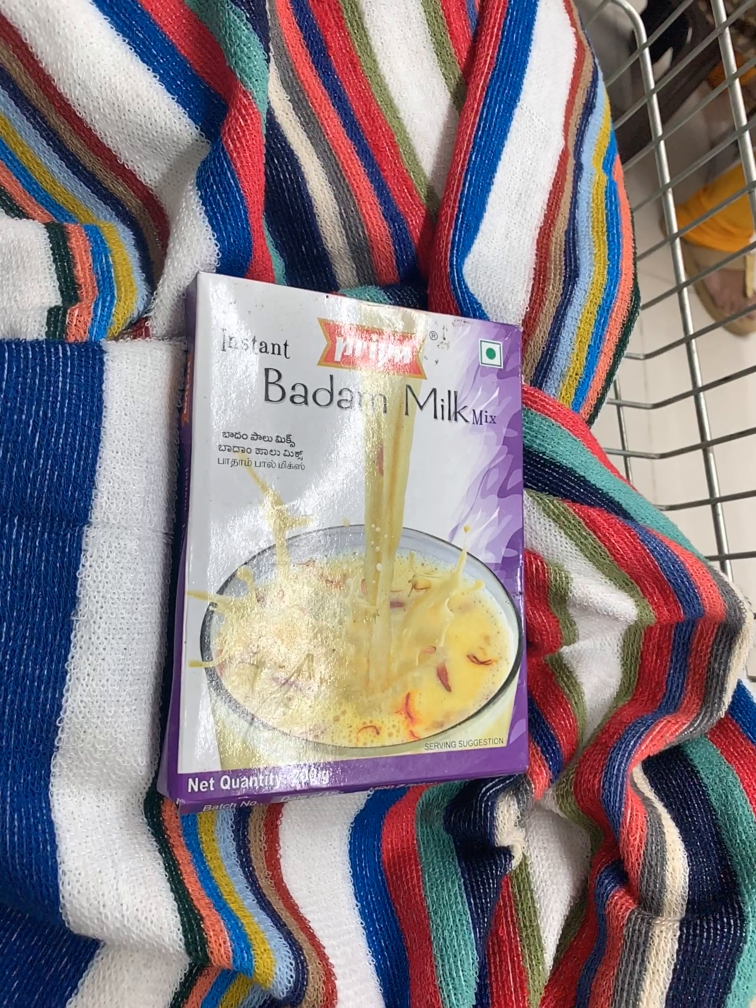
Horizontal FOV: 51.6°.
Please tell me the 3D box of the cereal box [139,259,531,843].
[{"bbox_3d":[-0.010,0.014,0.254,0.120,0.030,0.160,4,82,-27],"label":"cereal box"}]
